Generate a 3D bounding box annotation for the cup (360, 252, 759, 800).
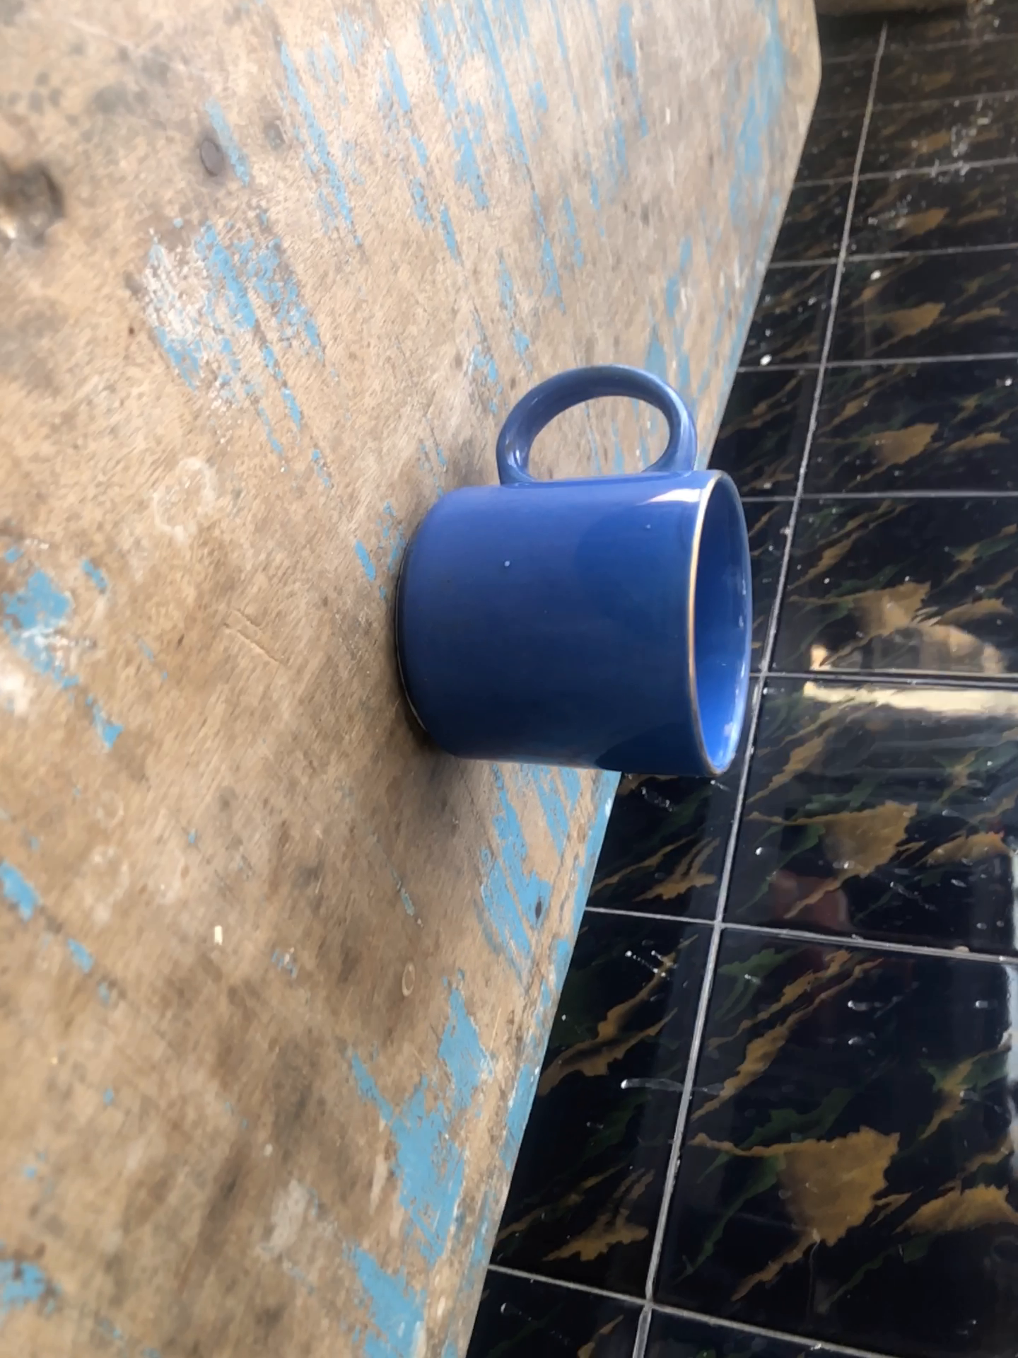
[{"bbox_3d":[0.017,-0.031,0.275,0.070,0.070,0.110,28,65,-67],"label":"cup"}]
